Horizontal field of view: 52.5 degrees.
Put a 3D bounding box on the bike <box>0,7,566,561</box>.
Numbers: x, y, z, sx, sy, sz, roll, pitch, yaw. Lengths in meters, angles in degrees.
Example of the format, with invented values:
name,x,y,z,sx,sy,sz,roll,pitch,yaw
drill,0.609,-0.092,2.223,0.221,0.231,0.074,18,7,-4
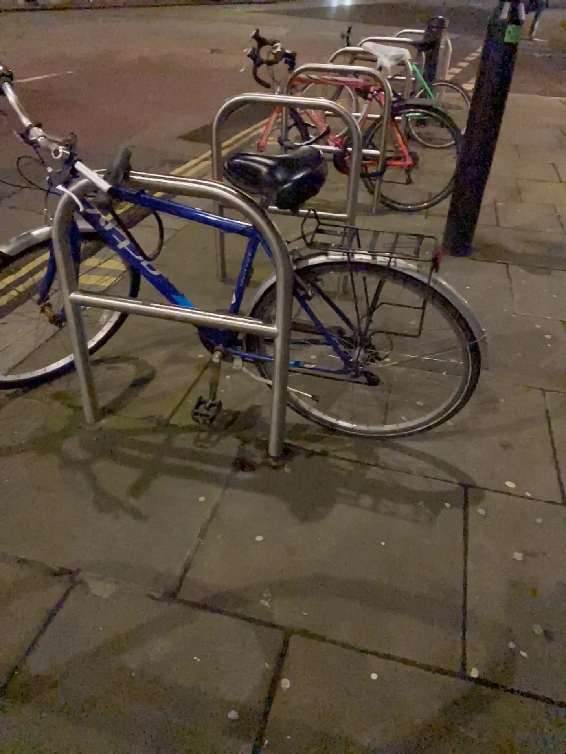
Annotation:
name,x,y,z,sx,sy,sz,roll,pitch,yaw
bike,-0.219,-0.243,1.555,1.594,1.108,0.659,7,35,3
